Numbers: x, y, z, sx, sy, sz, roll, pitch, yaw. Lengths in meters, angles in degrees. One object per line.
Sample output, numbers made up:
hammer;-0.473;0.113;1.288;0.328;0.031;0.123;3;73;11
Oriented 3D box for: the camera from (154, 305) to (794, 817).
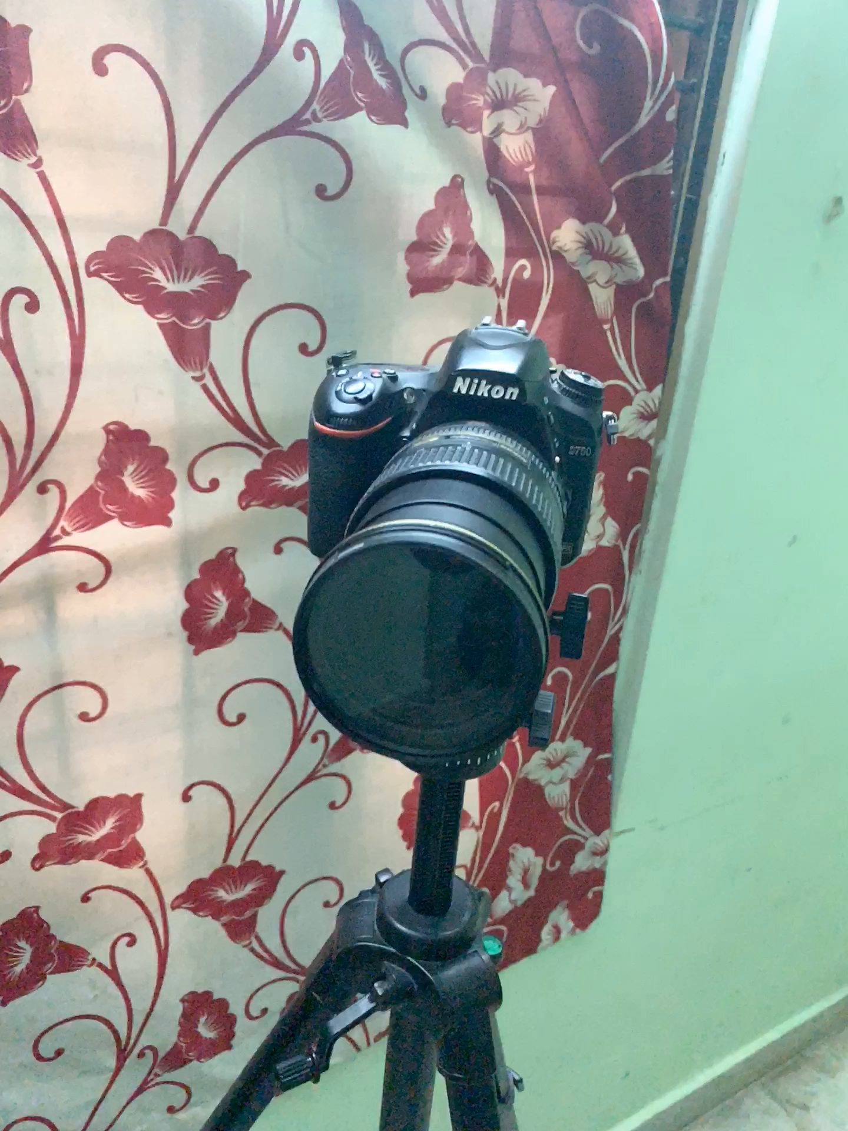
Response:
camera;0.016;-0.020;0.334;0.172;0.122;0.171;7;22;4
